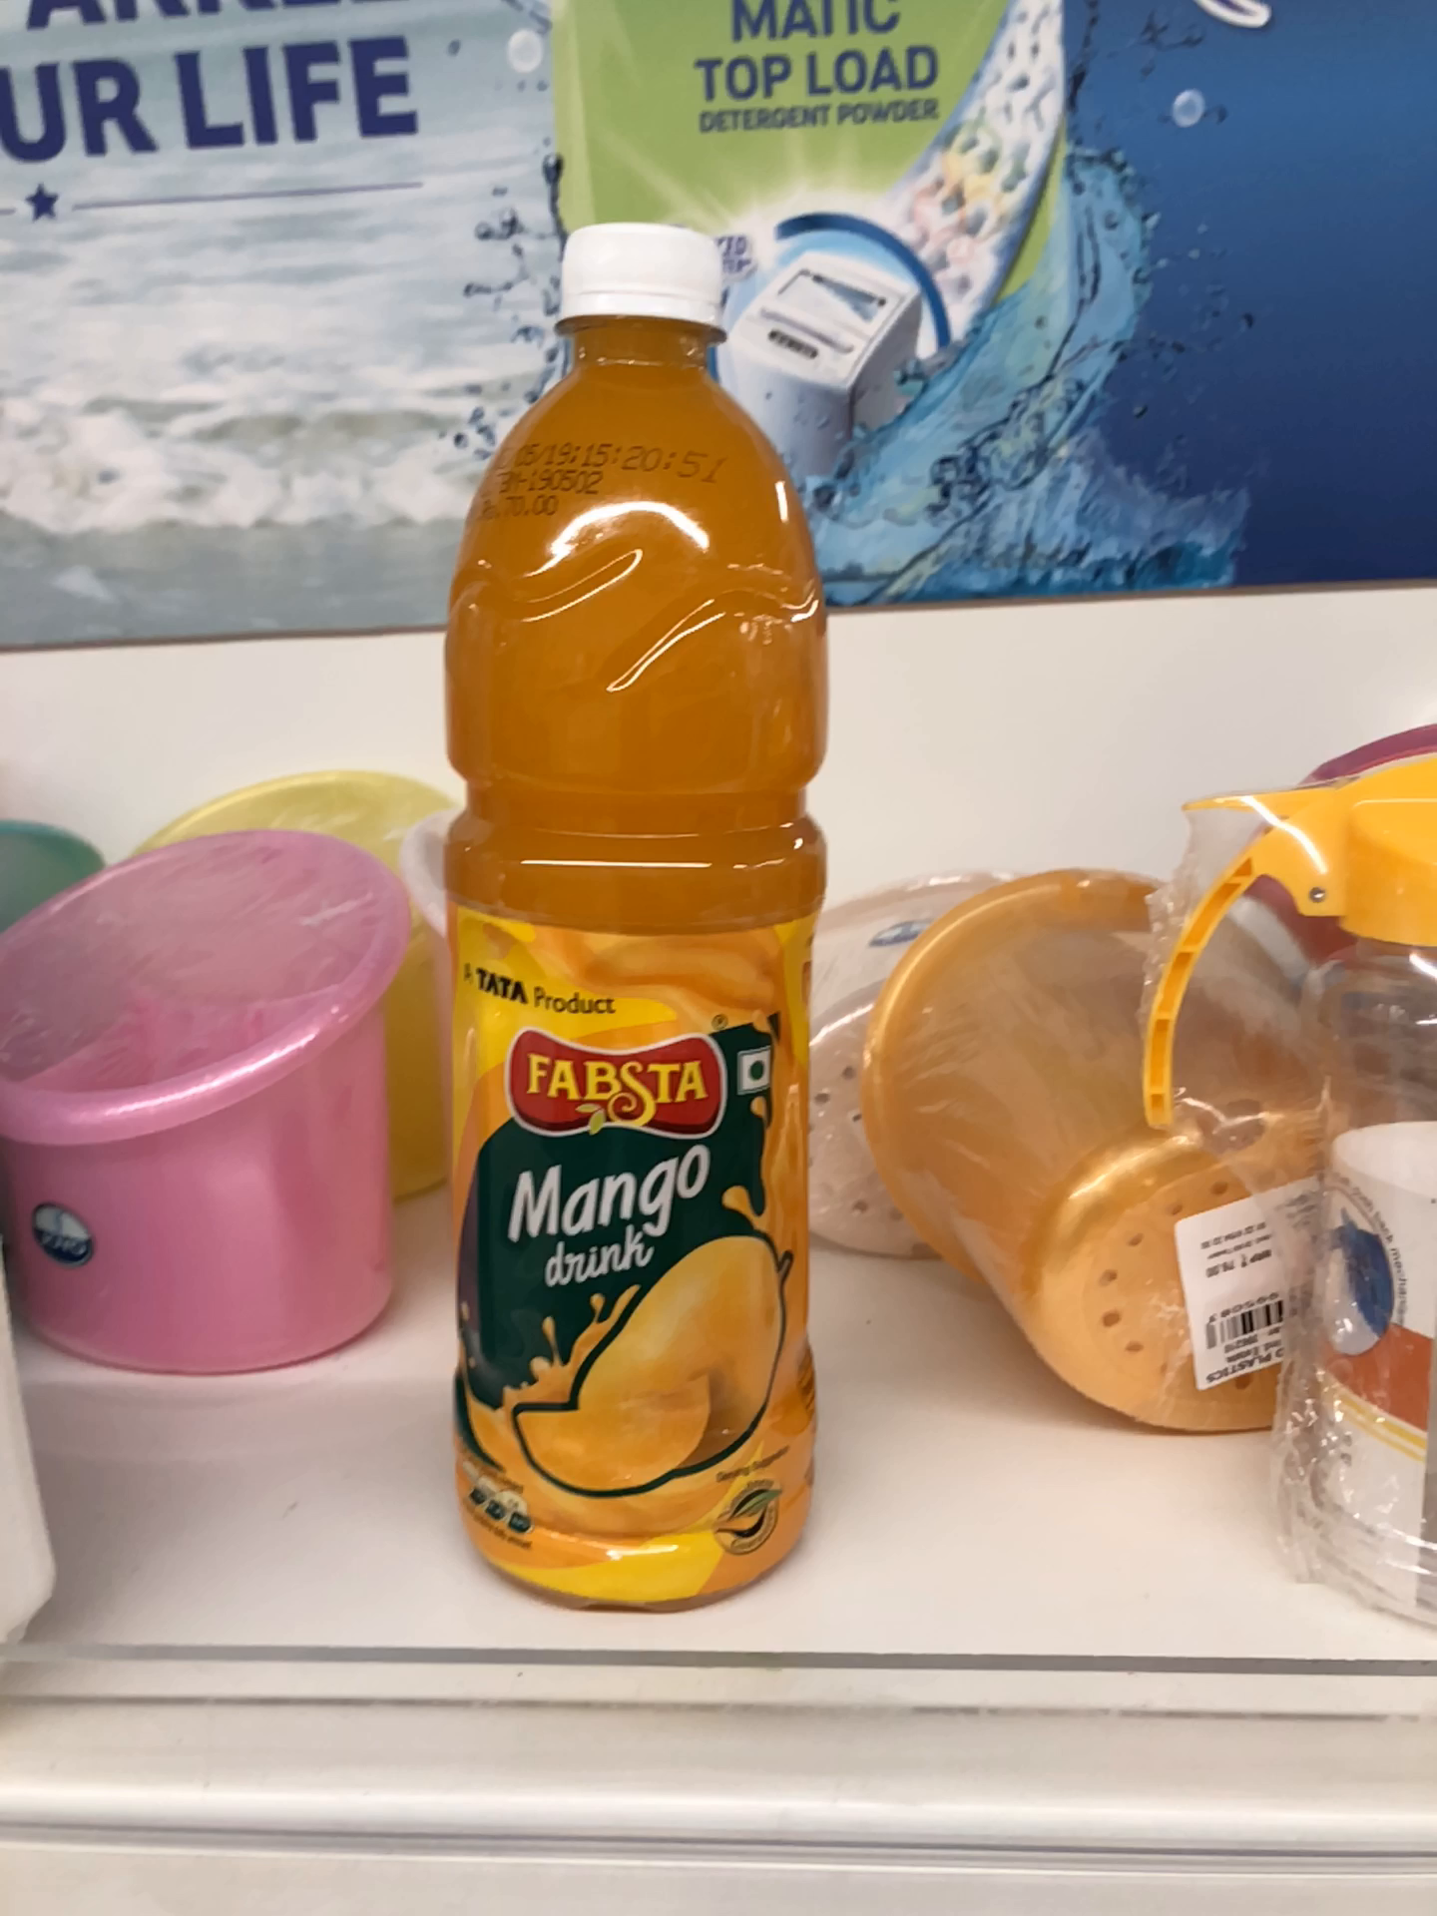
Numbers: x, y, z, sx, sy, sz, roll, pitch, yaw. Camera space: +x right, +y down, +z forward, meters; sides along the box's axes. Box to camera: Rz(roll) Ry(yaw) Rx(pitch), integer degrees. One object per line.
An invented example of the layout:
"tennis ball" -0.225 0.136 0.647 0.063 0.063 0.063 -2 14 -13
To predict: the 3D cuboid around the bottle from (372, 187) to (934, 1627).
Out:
"bottle" -0.015 -0.005 0.324 0.090 0.259 0.080 2 13 0
